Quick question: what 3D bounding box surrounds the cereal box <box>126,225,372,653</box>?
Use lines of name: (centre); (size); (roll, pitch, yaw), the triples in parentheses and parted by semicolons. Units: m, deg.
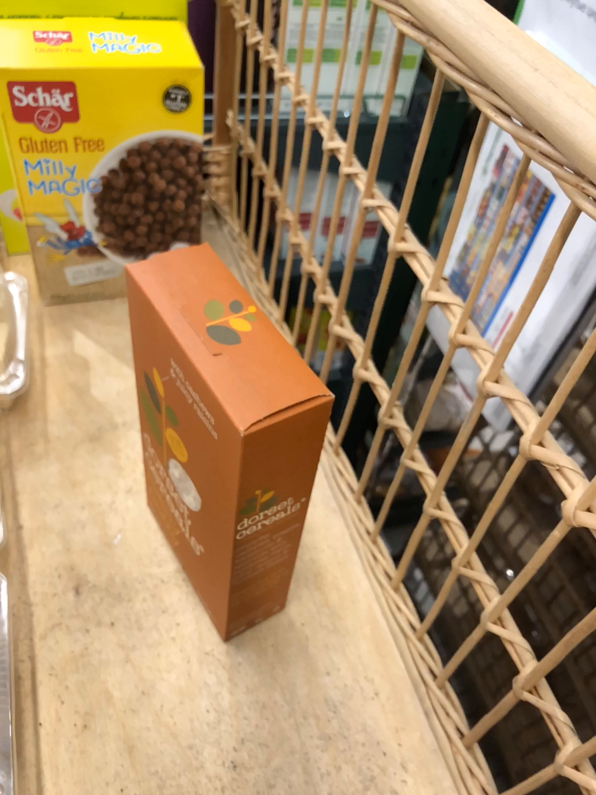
cereal box: (-0.039, 0.034, 0.371); (0.050, 0.209, 0.130); (-22, 56, -26)
